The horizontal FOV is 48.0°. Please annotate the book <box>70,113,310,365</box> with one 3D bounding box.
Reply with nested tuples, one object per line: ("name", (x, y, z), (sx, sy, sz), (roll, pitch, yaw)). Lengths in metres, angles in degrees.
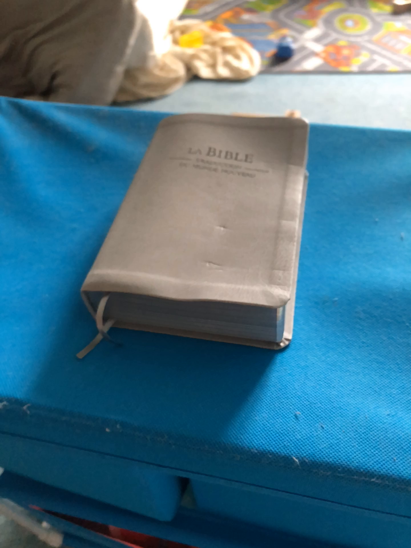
("book", (0.004, -0.037, 0.323), (0.121, 0.051, 0.181), (6, 52, 12))
